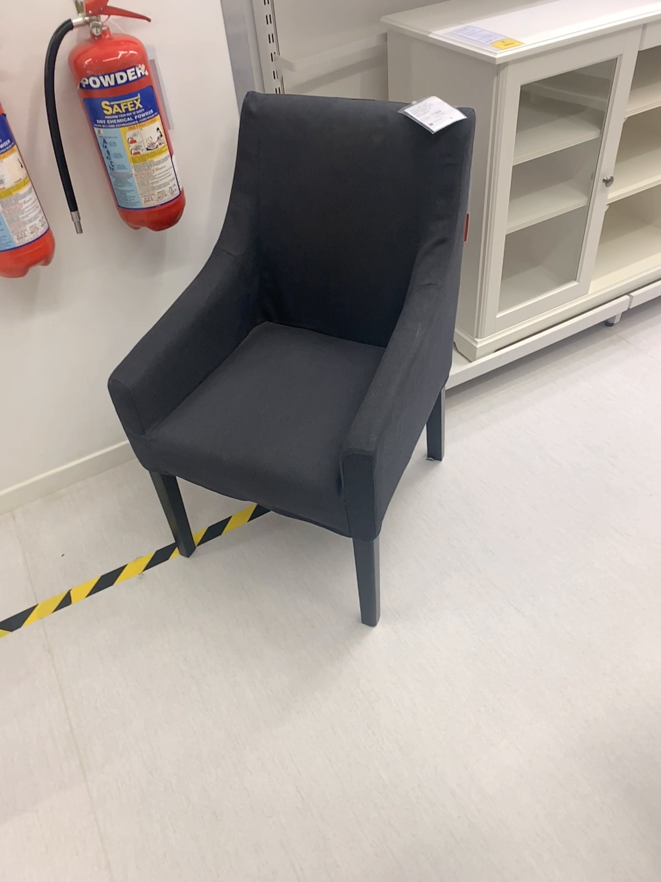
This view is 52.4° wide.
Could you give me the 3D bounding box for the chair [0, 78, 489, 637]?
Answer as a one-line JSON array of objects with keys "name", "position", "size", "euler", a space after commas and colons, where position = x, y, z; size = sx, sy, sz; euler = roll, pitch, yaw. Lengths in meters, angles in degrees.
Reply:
[{"name": "chair", "position": [-0.082, -0.180, 1.476], "size": [0.611, 0.916, 0.631], "euler": [16, 48, 22]}]
